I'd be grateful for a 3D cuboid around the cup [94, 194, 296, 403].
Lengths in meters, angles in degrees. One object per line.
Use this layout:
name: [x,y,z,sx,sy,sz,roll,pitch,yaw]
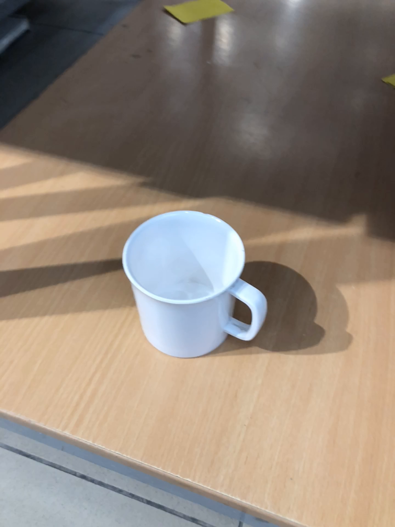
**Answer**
cup: [-0.001,0.025,0.330,0.110,0.089,0.080,27,56,21]
